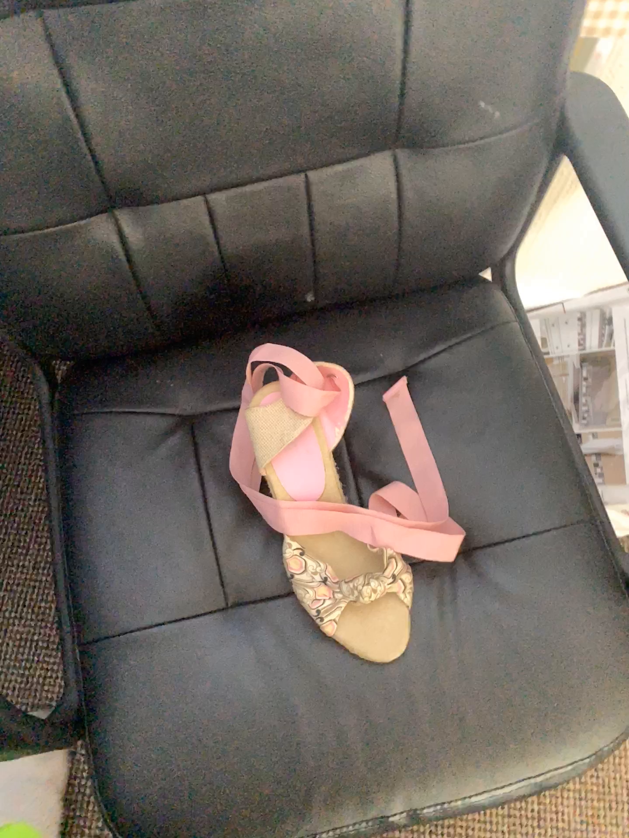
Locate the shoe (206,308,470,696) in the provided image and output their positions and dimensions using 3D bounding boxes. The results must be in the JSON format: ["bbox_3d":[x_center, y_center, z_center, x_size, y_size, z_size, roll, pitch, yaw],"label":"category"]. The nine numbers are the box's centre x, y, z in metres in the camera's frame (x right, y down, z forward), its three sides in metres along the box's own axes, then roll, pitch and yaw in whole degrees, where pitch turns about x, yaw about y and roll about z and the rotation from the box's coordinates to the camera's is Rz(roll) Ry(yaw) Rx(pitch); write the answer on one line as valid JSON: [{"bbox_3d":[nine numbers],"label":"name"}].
[{"bbox_3d":[0.009,0.069,0.534,0.100,0.139,0.271,-20,71,-7],"label":"shoe"}]
